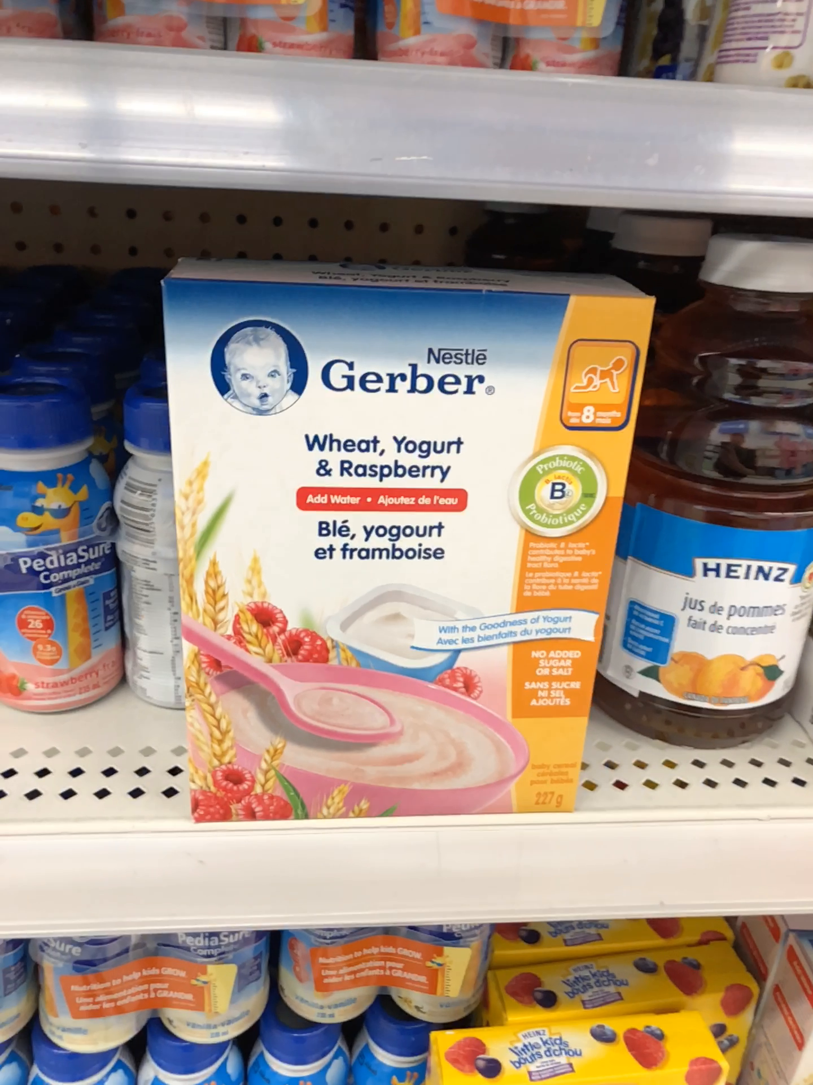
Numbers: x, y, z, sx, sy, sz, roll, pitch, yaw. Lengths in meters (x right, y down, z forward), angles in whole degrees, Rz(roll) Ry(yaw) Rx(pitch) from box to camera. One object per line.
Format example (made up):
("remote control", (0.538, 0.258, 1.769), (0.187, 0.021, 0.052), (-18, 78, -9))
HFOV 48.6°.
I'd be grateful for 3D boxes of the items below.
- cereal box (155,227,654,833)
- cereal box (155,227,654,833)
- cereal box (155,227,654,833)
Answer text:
("cereal box", (-0.007, 0.002, 0.311), (0.140, 0.199, 0.050), (1, 22, -7))
("cereal box", (-0.007, 0.002, 0.311), (0.140, 0.199, 0.050), (1, 22, -7))
("cereal box", (-0.007, 0.002, 0.311), (0.140, 0.199, 0.050), (1, 22, -7))
